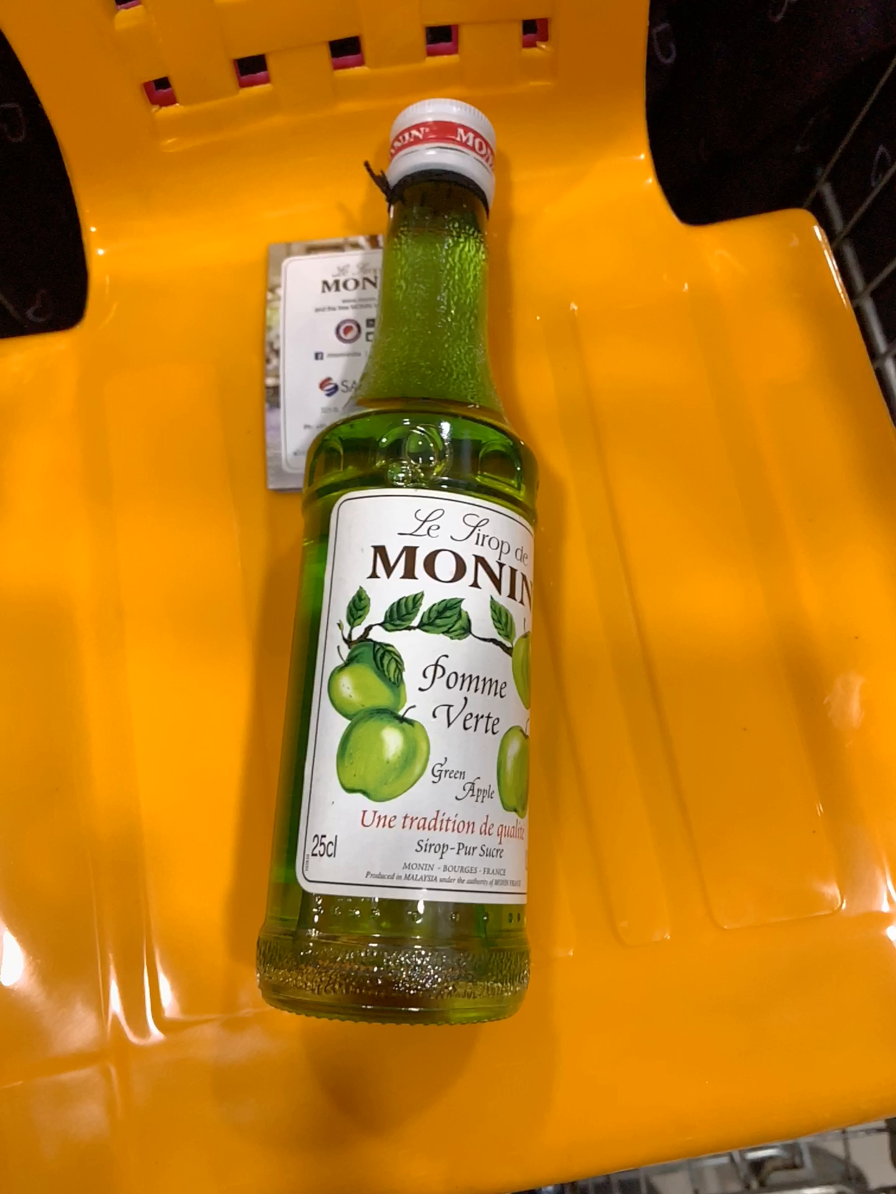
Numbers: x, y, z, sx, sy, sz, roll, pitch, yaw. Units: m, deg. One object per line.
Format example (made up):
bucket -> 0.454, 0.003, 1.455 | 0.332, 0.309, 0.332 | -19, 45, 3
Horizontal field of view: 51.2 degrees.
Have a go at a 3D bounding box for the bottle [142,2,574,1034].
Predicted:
bottle -> -0.016, -0.020, 0.229 | 0.060, 0.060, 0.220 | -10, 70, 44

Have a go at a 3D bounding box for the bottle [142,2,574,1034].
bottle -> -0.016, -0.020, 0.229 | 0.060, 0.060, 0.220 | -10, 70, 44
